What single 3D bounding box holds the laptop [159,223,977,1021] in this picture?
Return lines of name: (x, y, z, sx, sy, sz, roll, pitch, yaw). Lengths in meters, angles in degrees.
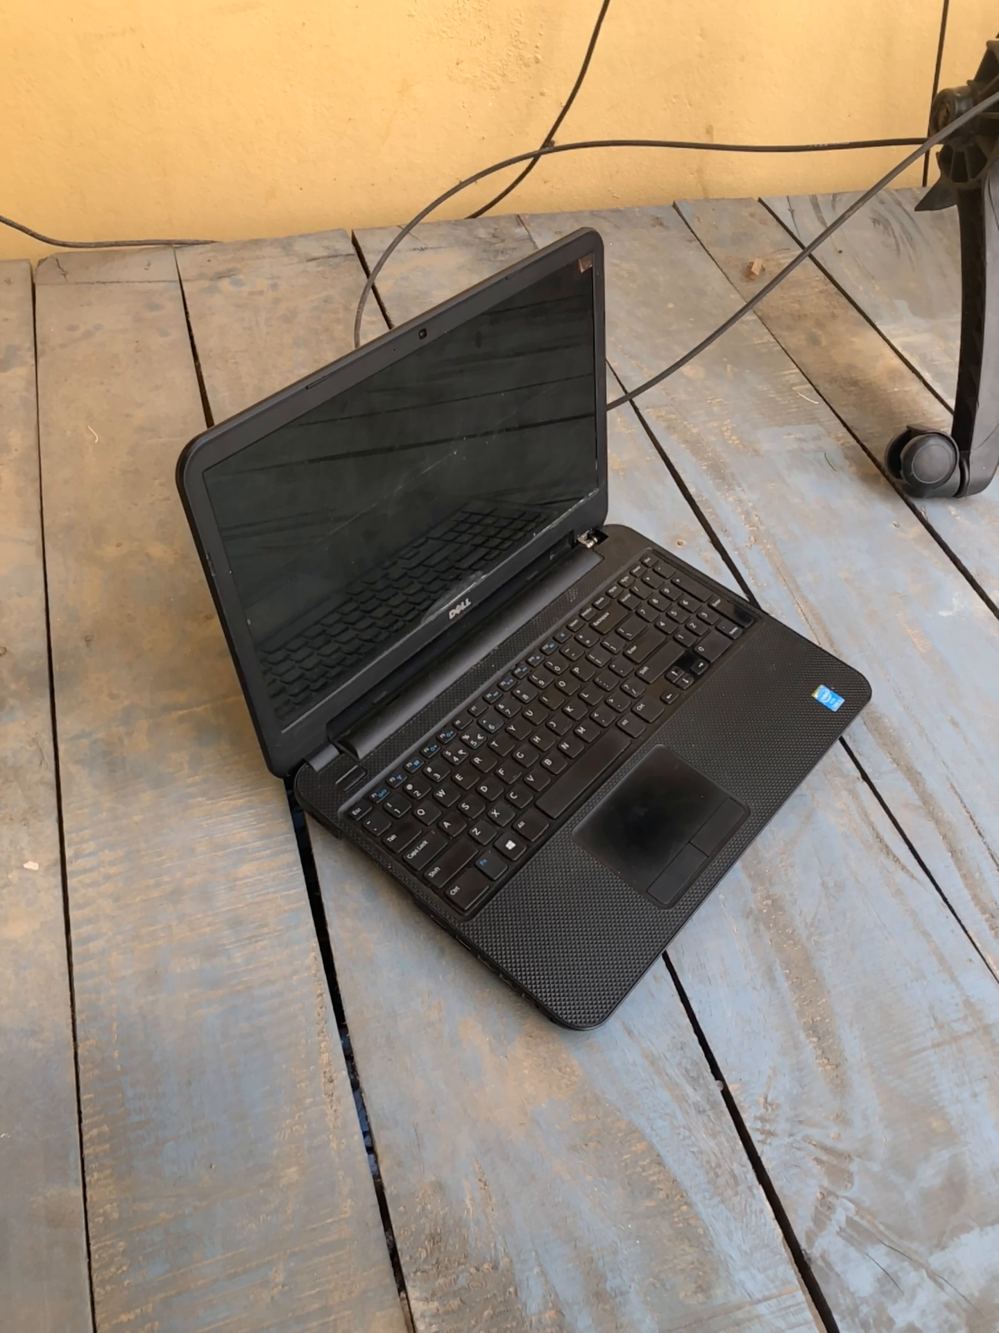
laptop: (0.044, -0.051, 0.670, 0.307, 0.214, 0.332, 35, 55, 22)
